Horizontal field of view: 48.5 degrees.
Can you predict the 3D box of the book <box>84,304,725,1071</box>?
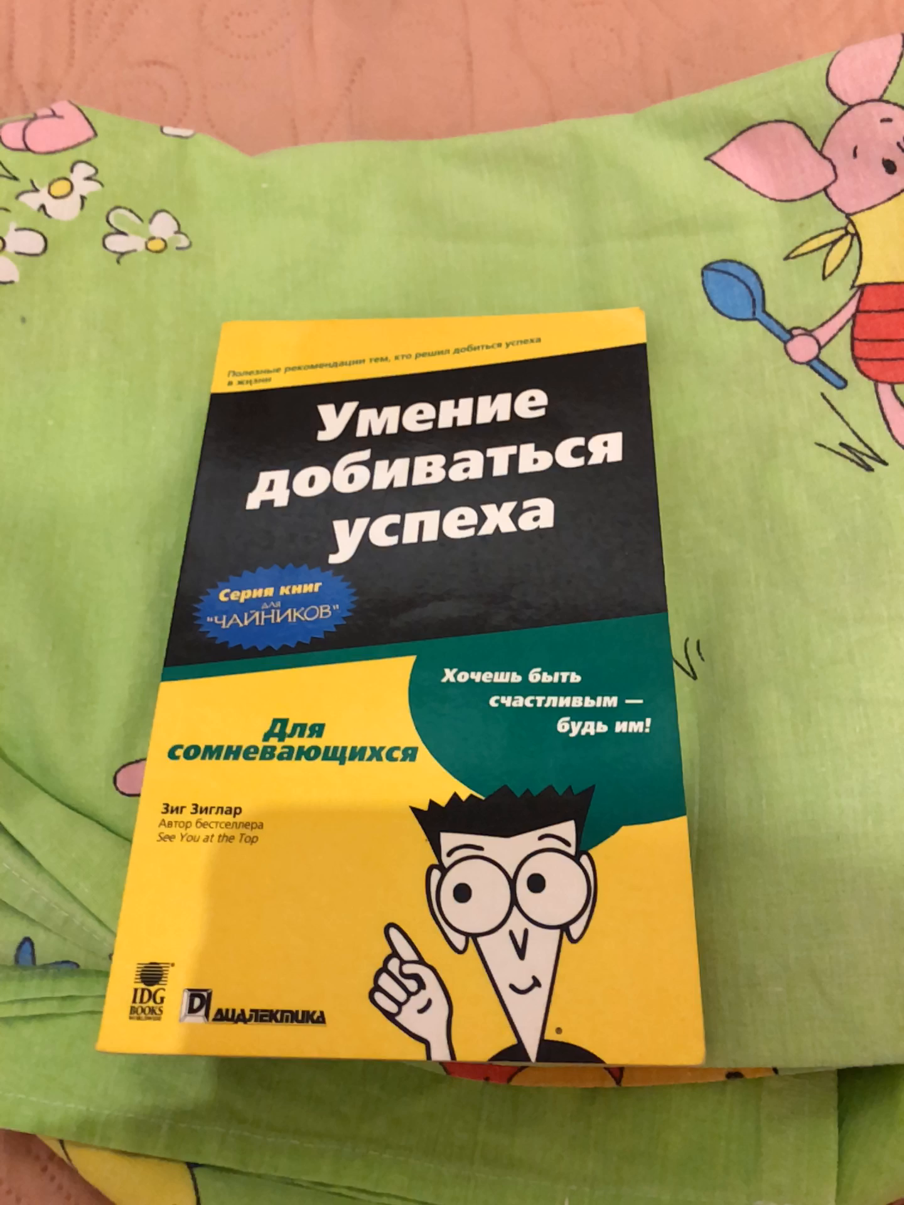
[{"bbox_3d":[-0.008,0.007,0.244,0.125,0.015,0.192,-1,63,4],"label":"book"}]
